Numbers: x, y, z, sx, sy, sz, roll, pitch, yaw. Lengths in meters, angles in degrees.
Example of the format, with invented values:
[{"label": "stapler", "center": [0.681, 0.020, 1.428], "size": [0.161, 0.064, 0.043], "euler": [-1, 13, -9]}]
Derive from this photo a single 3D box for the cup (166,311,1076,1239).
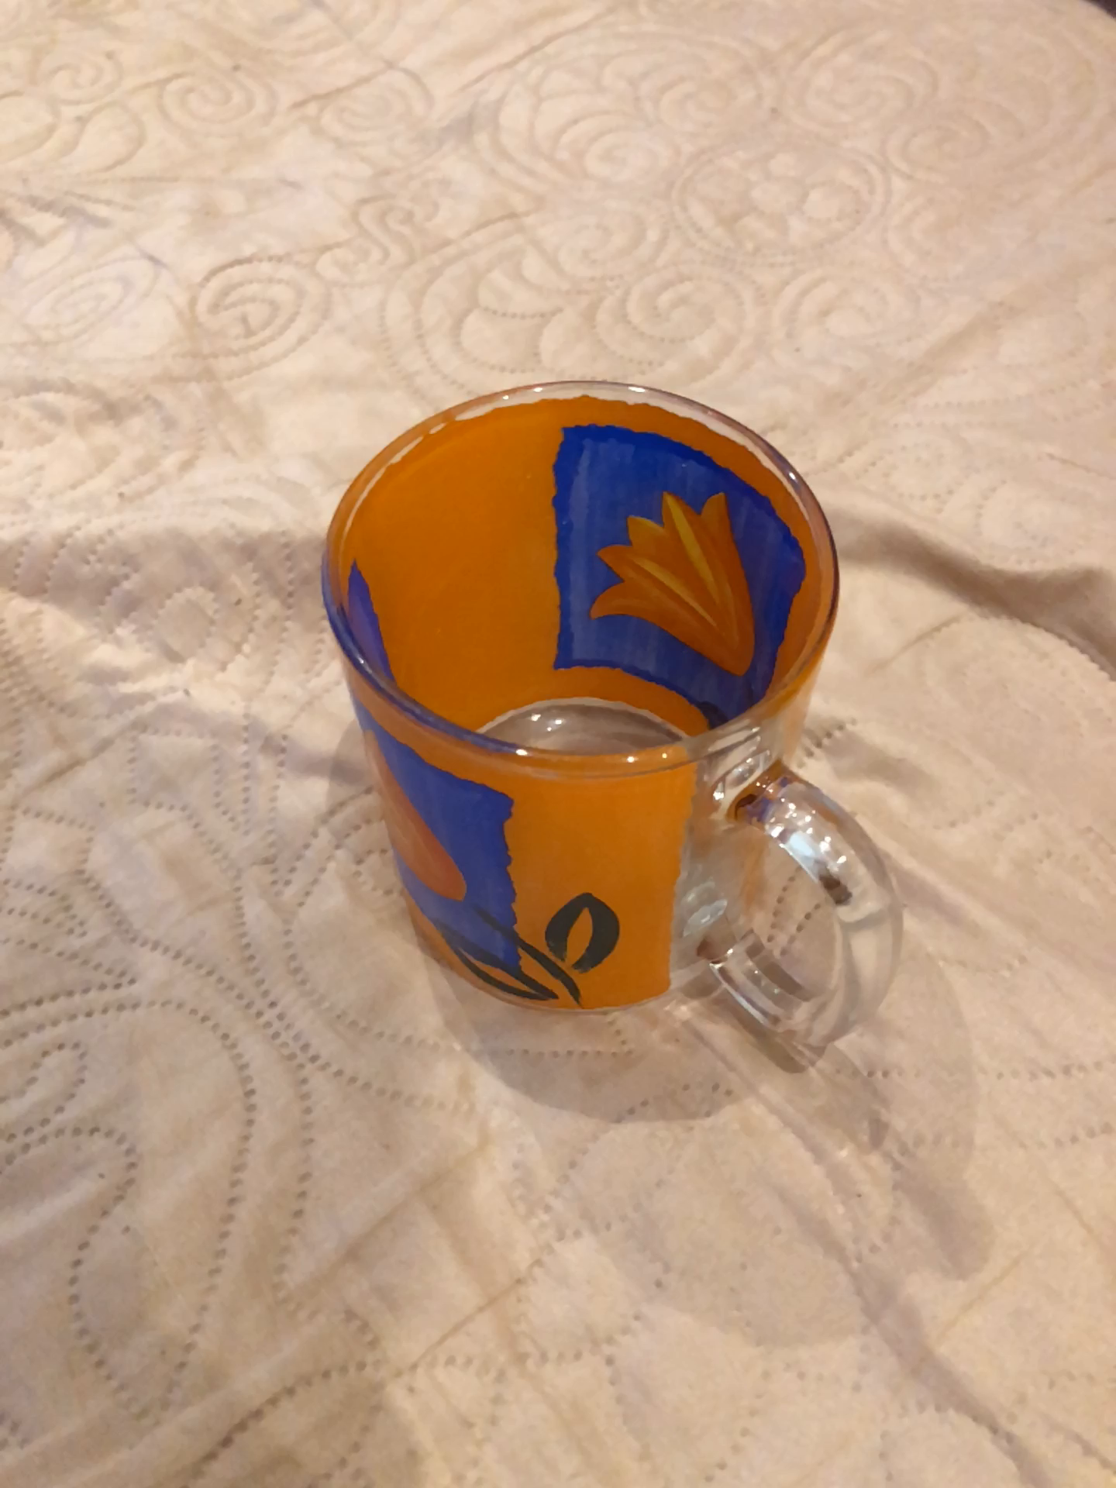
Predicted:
[{"label": "cup", "center": [0.007, 0.004, 0.217], "size": [0.080, 0.090, 0.110], "euler": [-35, 60, -20]}]
